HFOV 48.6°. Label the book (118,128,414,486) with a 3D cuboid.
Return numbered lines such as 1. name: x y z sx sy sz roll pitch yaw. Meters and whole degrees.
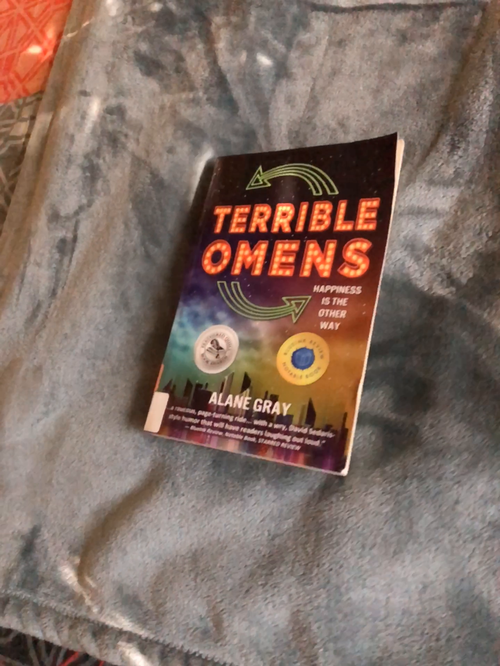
1. book: 0.011 -0.024 0.335 0.141 0.028 0.200 5 73 27
